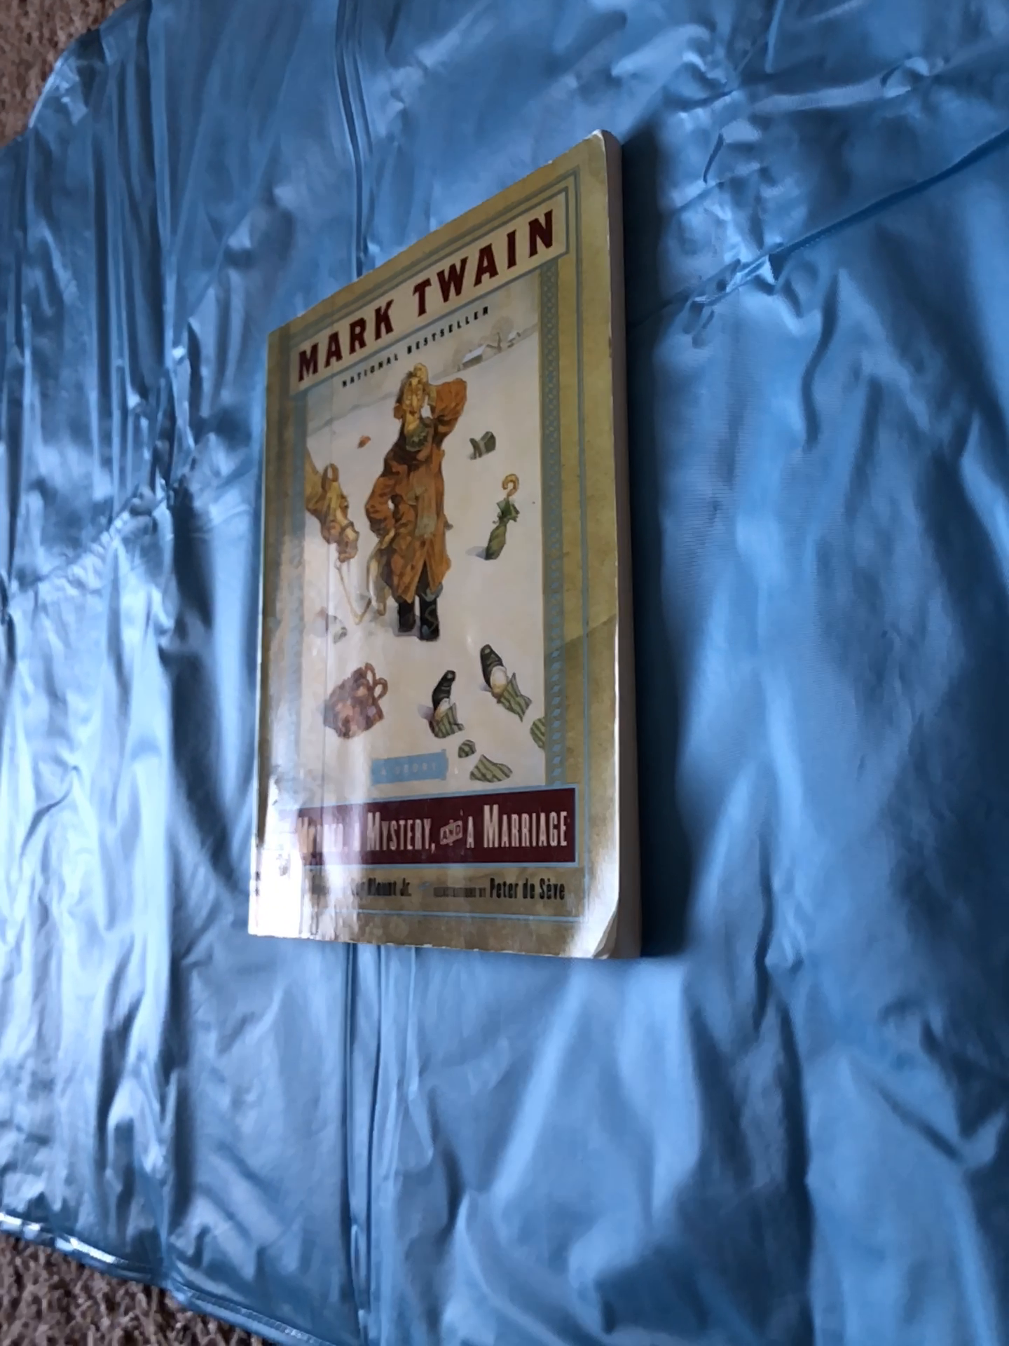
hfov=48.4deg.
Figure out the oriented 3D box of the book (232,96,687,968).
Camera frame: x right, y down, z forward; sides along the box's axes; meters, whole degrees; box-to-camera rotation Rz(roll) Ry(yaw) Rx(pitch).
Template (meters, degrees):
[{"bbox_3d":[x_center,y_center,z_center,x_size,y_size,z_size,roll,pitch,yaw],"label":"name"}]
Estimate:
[{"bbox_3d":[-0.022,-0.028,0.324,0.161,0.020,0.210,-10,76,44],"label":"book"}]
